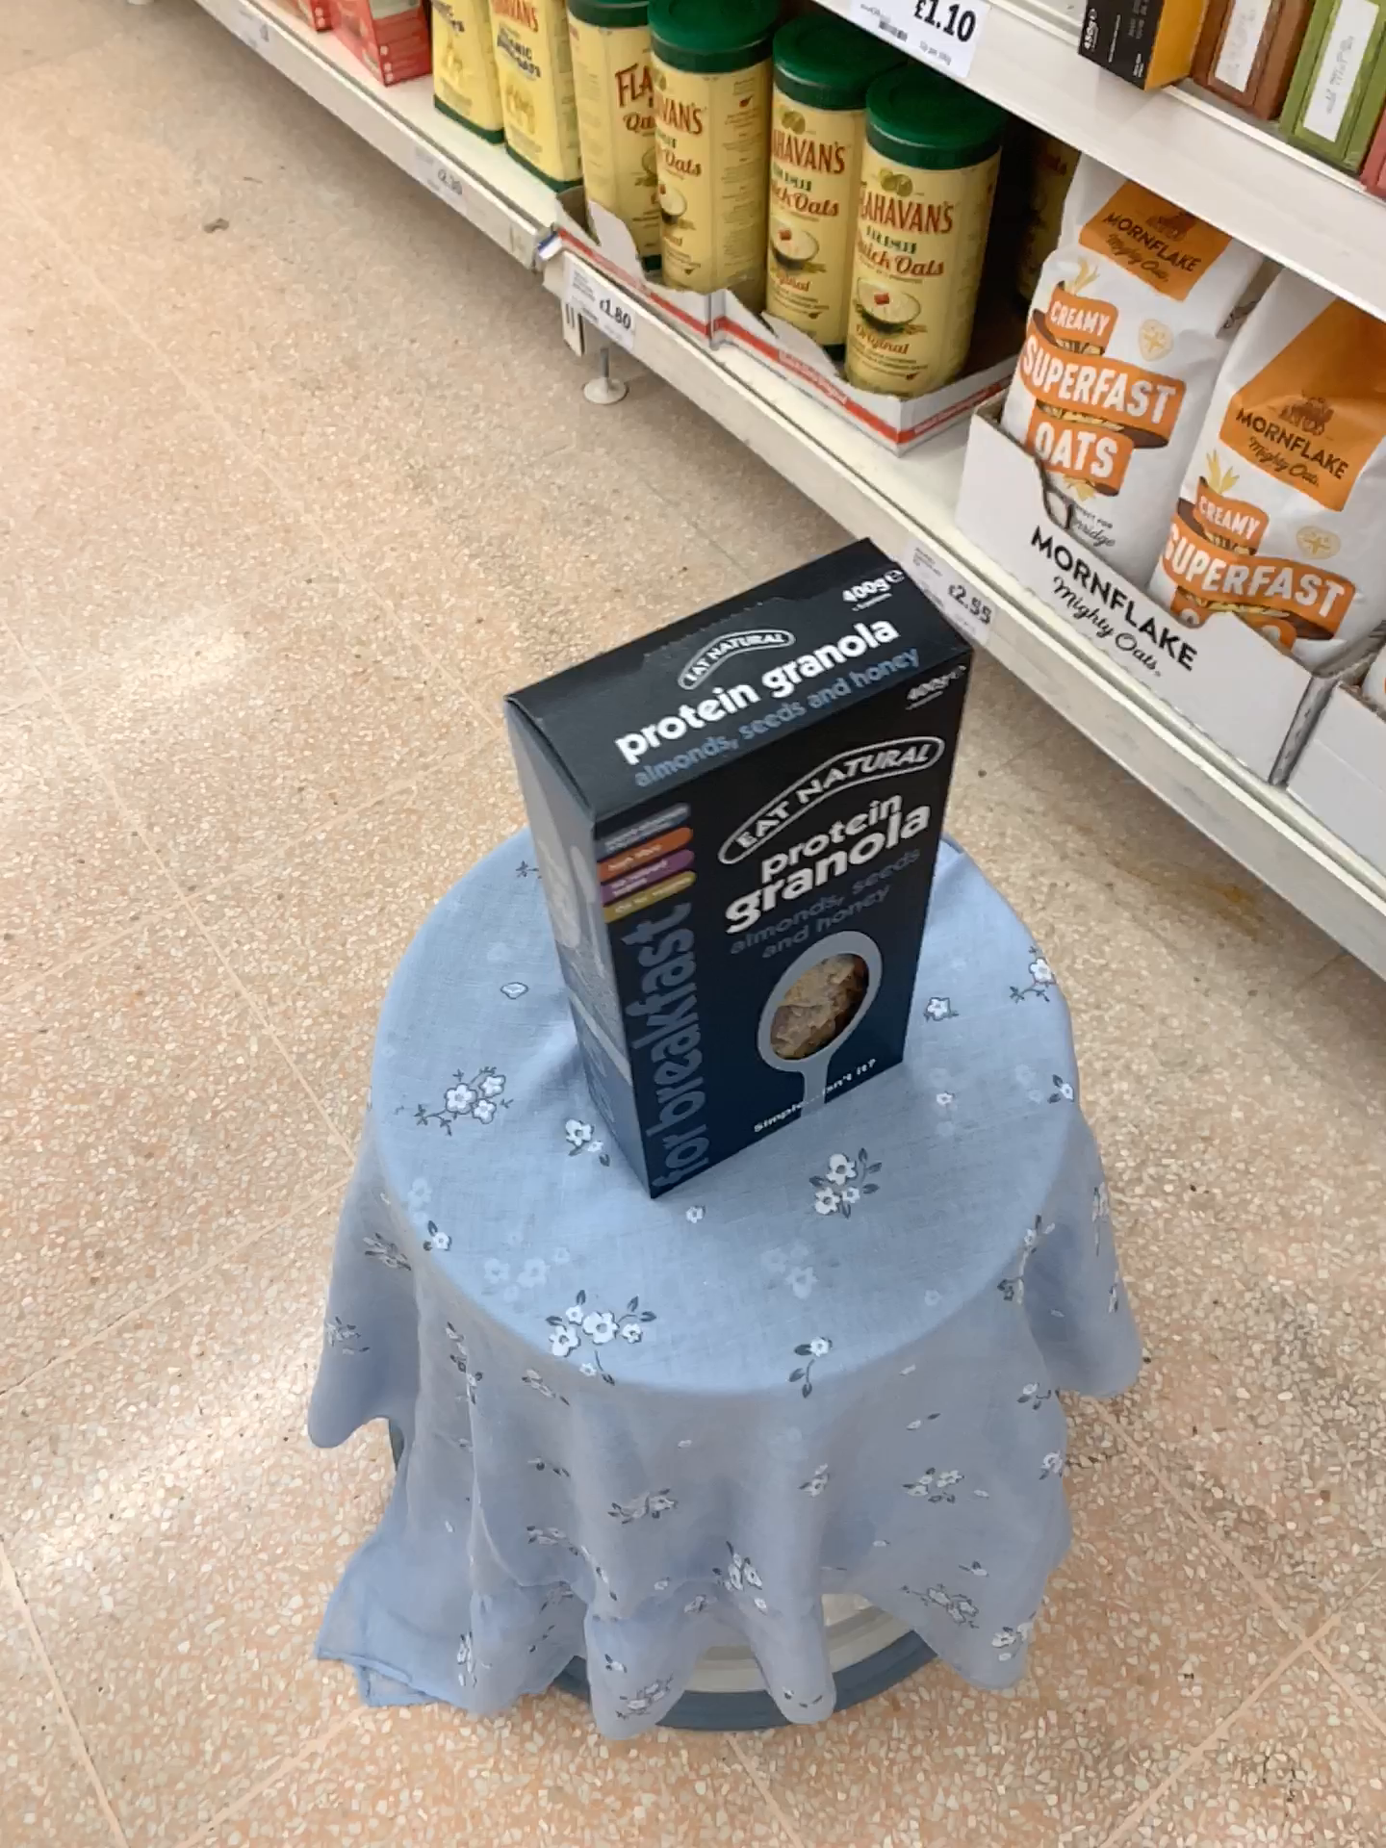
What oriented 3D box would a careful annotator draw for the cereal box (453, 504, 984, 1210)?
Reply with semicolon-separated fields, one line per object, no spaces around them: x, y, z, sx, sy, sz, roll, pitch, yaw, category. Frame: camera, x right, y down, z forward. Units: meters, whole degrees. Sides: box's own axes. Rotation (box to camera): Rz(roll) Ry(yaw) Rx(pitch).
0.009;-0.008;0.492;0.130;0.238;0.070;-27;60;-16;cereal box
